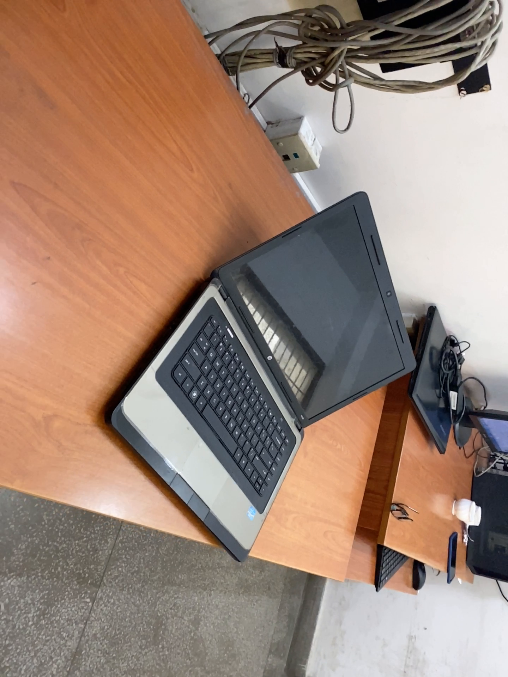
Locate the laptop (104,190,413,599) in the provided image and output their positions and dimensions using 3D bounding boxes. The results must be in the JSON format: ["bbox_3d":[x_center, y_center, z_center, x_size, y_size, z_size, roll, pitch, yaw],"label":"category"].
[{"bbox_3d":[0.062,0.077,0.769,0.426,0.158,0.384,-59,137,-32],"label":"laptop"}]
